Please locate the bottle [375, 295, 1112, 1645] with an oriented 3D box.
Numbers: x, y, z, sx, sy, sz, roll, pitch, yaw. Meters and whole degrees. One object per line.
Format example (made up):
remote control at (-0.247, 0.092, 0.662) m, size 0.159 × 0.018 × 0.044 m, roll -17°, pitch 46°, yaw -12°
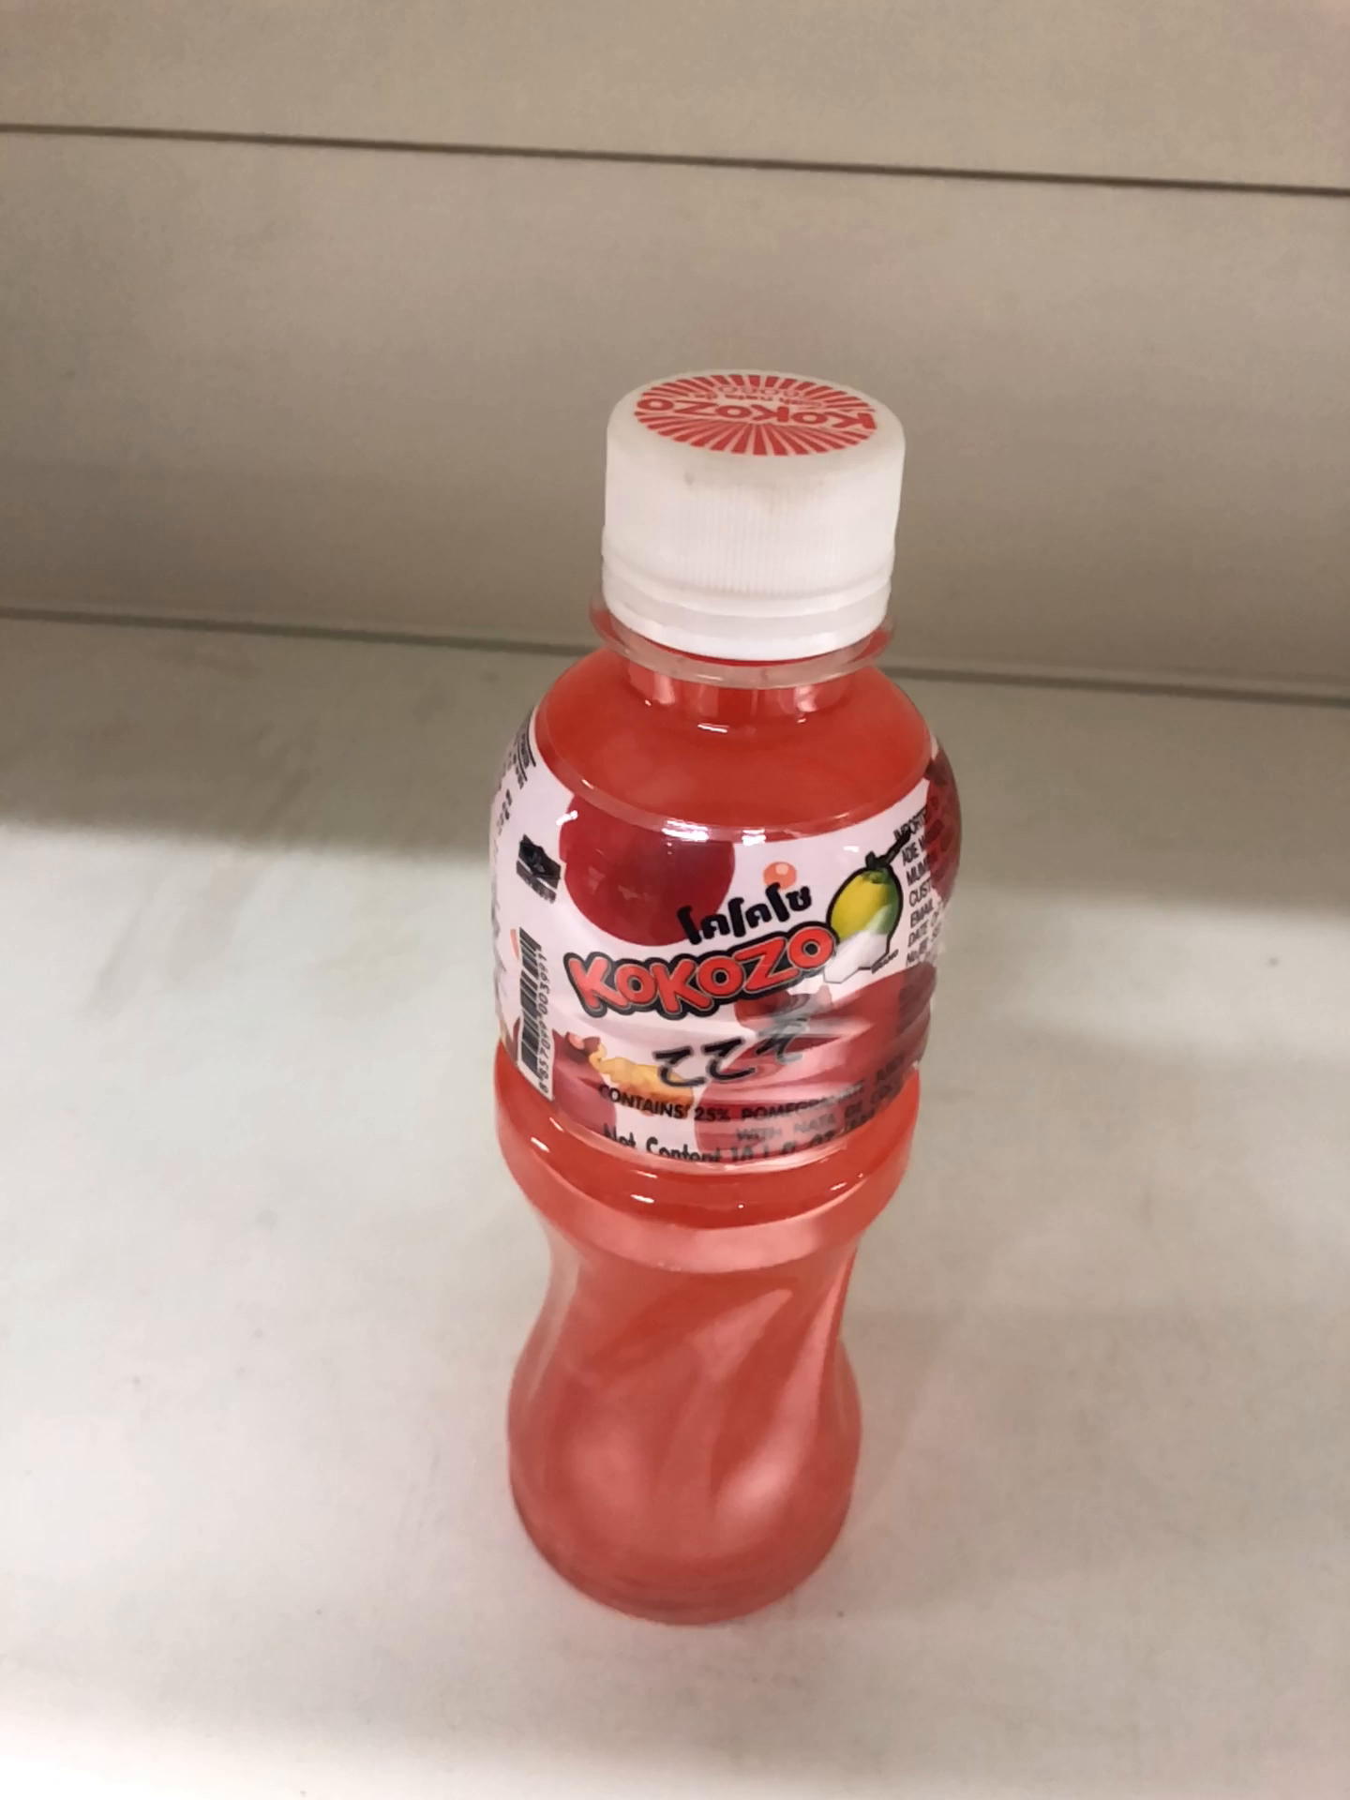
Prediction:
bottle at (0.001, 0.020, 0.190) m, size 0.060 × 0.169 × 0.050 m, roll -1°, pitch 34°, yaw -5°
